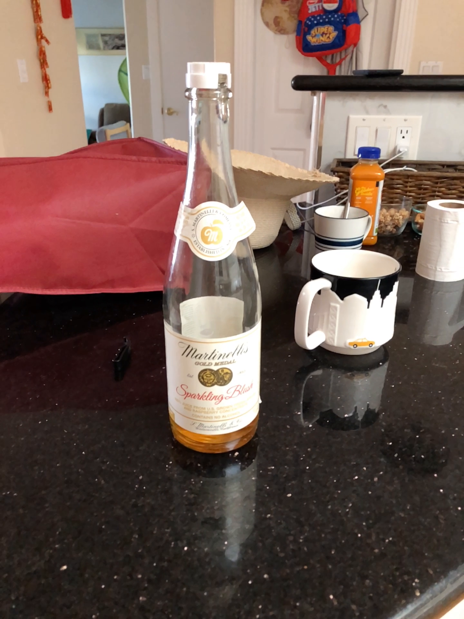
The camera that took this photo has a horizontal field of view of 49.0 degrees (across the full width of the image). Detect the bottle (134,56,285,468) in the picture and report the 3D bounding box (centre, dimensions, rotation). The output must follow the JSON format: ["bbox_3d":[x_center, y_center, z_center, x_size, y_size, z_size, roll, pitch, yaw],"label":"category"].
[{"bbox_3d":[-0.017,-0.029,0.430,0.093,0.330,0.101,1,26,0],"label":"bottle"}]
